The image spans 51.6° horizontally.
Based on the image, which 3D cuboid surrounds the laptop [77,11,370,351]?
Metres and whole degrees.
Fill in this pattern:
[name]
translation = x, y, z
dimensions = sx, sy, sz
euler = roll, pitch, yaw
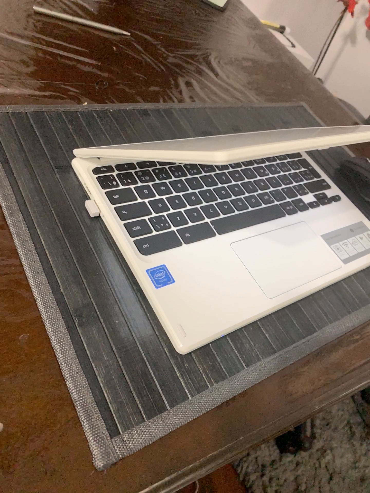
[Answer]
[laptop]
translation = 0.087, -0.072, 0.321
dimensions = 0.282, 0.124, 0.181
euler = -17, 61, -34
